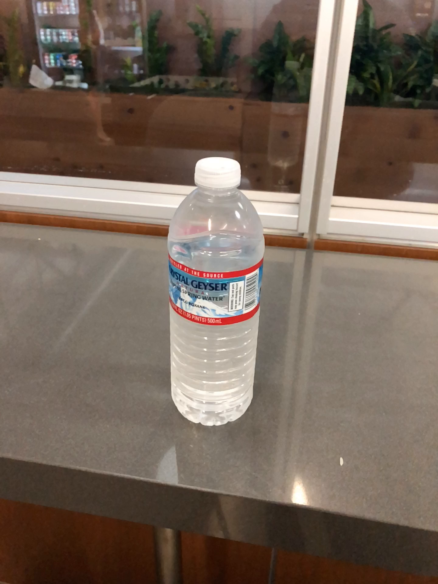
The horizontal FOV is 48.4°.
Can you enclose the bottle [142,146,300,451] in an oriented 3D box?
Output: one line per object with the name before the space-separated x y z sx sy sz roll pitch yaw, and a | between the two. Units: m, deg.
bottle | 0.002 0.006 0.340 0.070 0.189 0.070 1 29 0
